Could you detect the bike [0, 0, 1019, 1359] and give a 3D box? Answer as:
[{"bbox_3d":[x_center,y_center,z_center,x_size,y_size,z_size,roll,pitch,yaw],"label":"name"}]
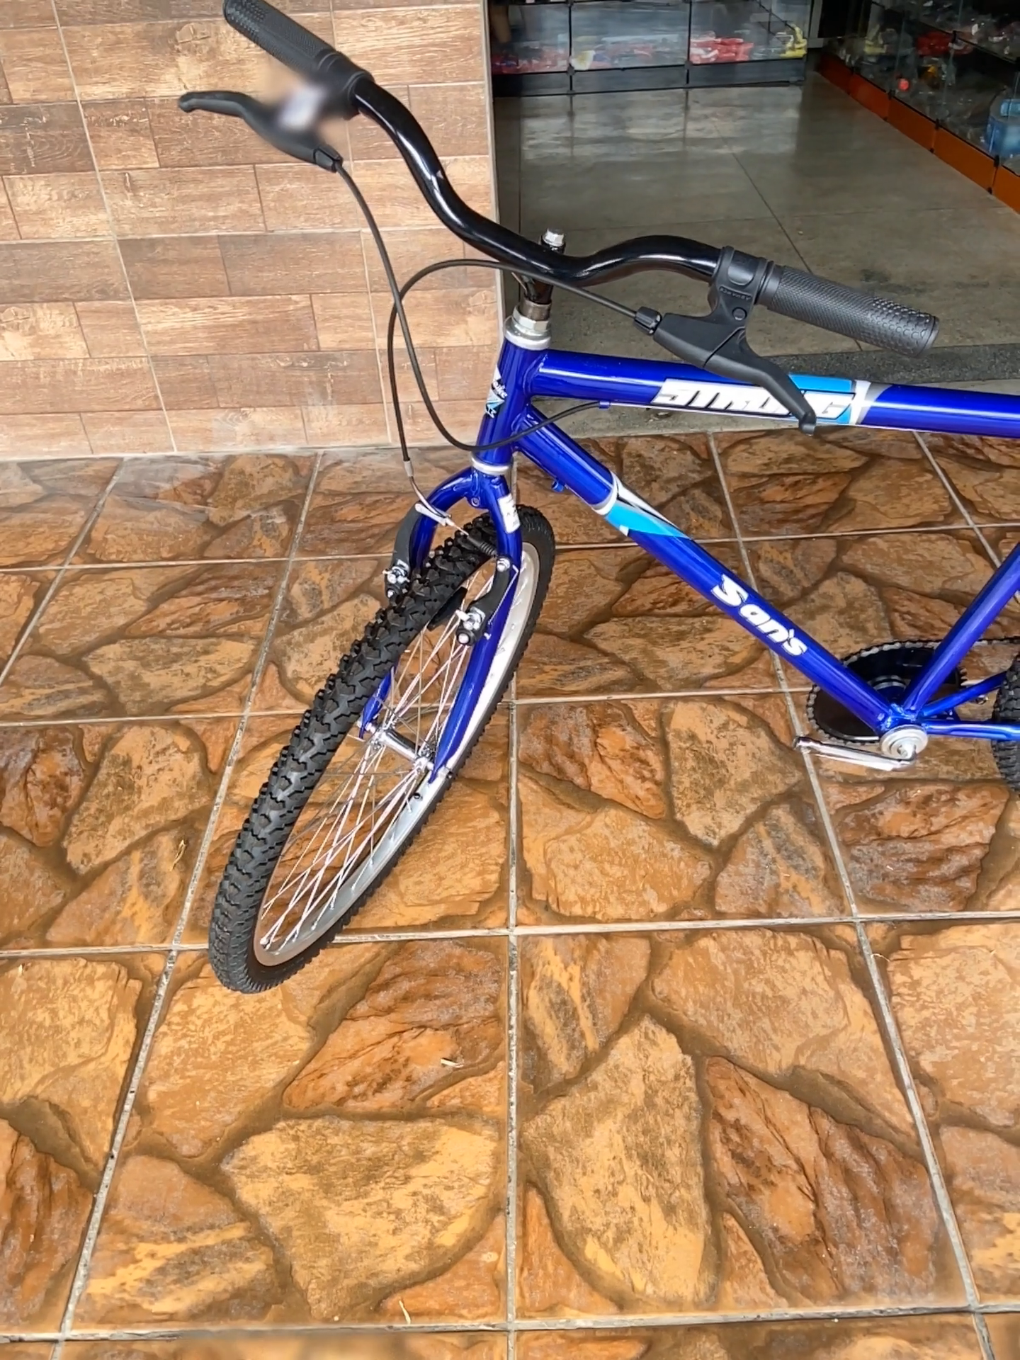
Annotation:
[{"bbox_3d":[0.433,0.045,0.959,1.525,1.013,0.575,-13,39,-6],"label":"bike"}]
